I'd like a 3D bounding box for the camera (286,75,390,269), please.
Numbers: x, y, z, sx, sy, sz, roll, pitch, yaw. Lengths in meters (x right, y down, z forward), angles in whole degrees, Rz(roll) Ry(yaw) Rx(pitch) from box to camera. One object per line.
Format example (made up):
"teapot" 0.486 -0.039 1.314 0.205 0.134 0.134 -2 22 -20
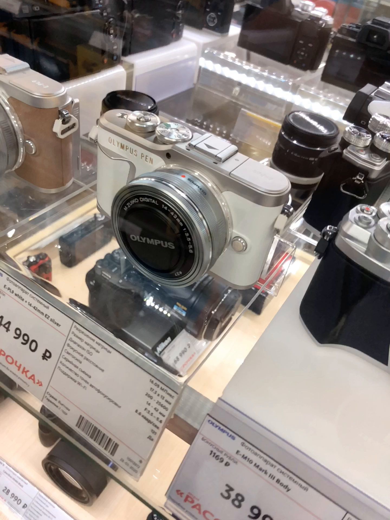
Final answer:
"camera" 0.126 -0.066 0.295 0.072 0.072 0.115 28 43 18

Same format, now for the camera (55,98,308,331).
"camera" -0.011 -0.028 0.234 0.114 0.070 0.053 27 43 17

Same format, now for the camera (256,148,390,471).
"camera" 0.096 0.016 0.178 0.114 0.072 0.053 27 43 17

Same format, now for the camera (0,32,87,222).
"camera" -0.121 -0.083 0.264 0.087 0.072 0.061 27 43 17
